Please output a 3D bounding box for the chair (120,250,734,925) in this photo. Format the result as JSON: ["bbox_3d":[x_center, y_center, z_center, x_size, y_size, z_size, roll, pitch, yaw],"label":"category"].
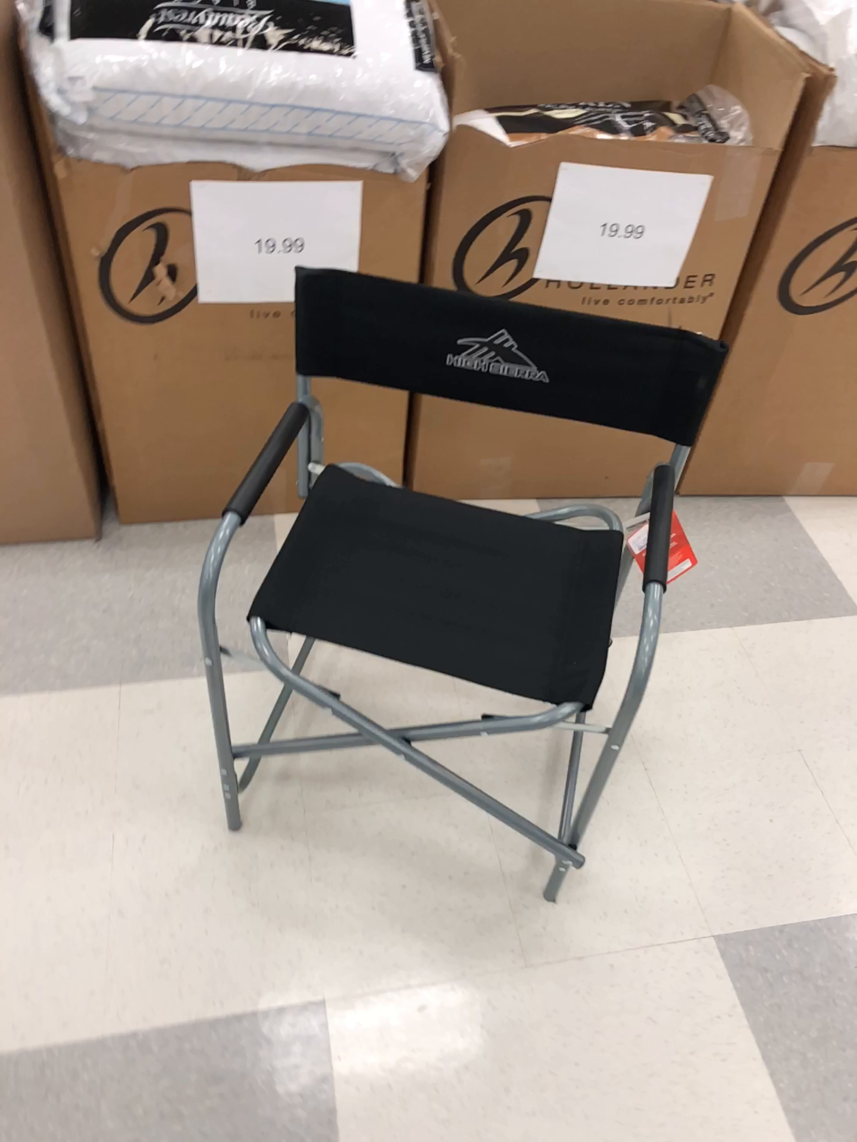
[{"bbox_3d":[0.014,0.044,1.361,0.624,0.736,0.500,12,45,6],"label":"chair"}]
